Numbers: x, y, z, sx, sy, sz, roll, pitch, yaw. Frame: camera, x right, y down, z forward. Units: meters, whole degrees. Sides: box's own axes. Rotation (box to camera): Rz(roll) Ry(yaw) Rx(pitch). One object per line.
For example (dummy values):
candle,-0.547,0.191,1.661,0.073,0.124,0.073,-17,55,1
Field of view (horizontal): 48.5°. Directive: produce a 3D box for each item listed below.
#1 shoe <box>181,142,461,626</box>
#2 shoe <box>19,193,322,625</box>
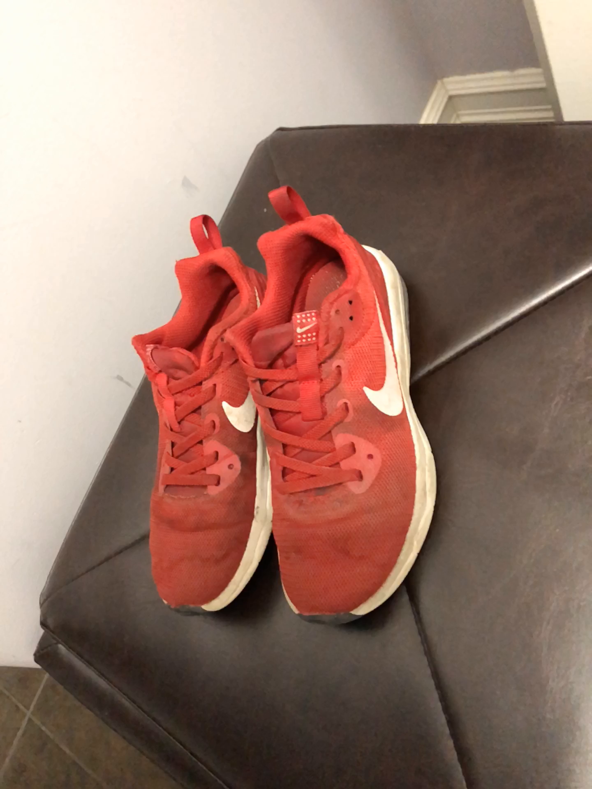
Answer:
shoe,0.019,0.002,0.345,0.096,0.100,0.220,-10,66,28
shoe,-0.064,0.012,0.390,0.096,0.100,0.220,-2,70,32
